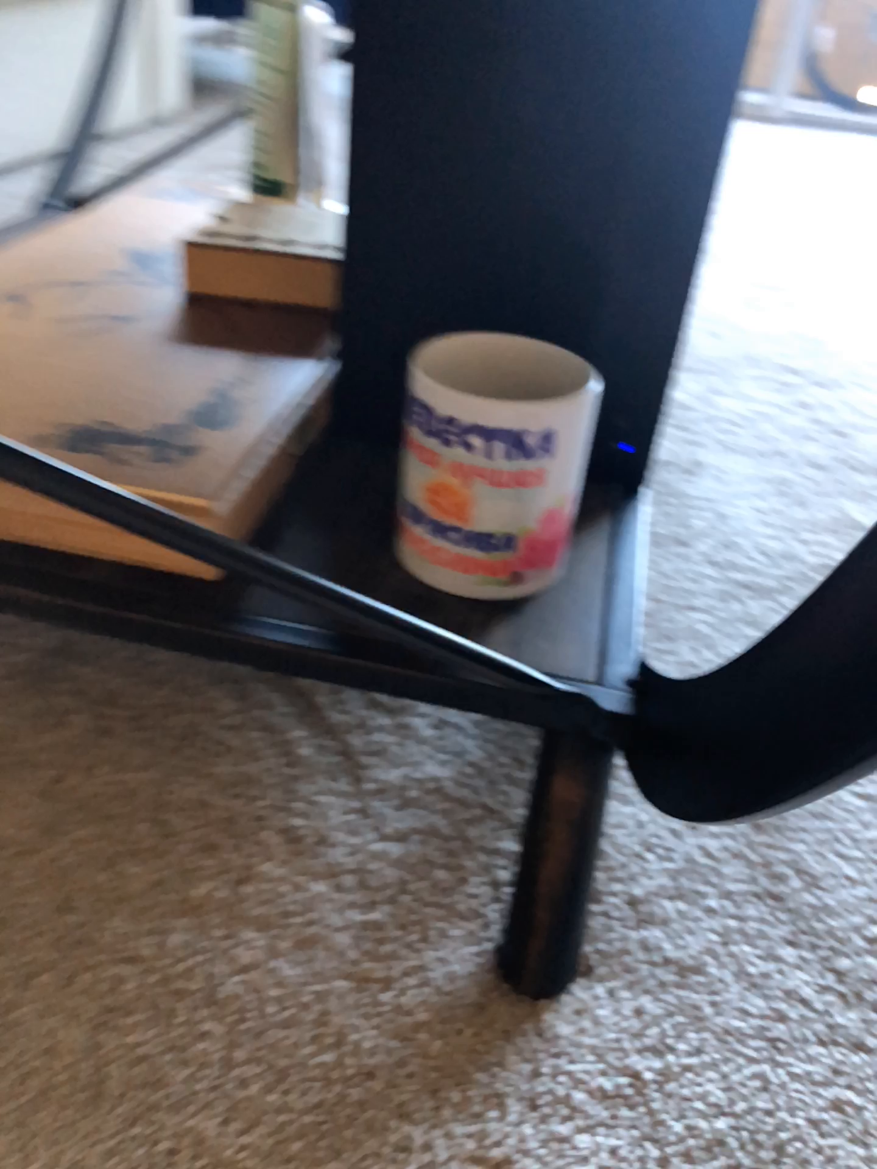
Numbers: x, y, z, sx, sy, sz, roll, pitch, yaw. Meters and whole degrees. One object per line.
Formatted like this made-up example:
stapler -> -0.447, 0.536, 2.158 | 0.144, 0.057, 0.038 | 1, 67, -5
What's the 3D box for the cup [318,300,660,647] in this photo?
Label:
cup -> 0.025, -0.060, 0.466 | 0.090, 0.100, 0.140 | 24, 37, 25
